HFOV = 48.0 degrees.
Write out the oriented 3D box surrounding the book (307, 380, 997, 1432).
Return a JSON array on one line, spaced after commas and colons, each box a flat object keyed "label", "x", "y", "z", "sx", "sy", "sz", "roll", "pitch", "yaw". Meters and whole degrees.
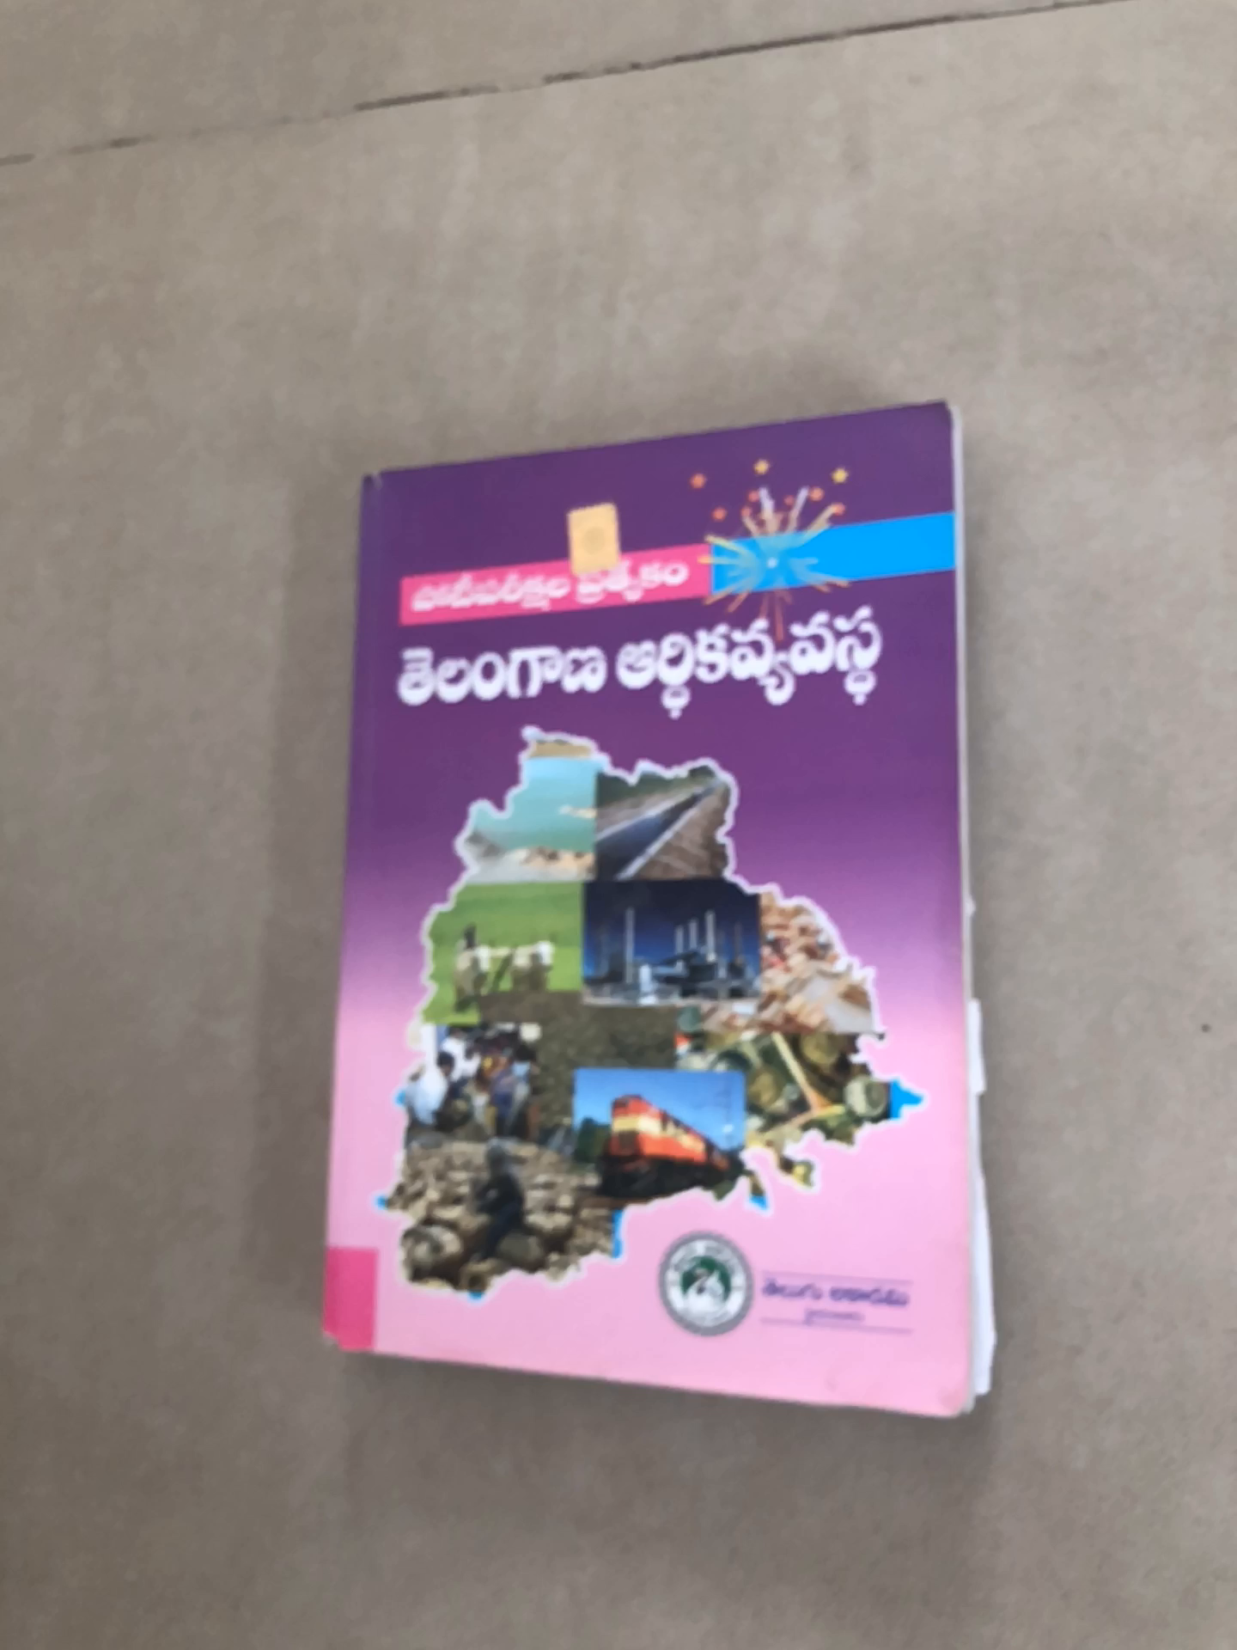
[{"label": "book", "x": 0.007, "y": 0.020, "z": 0.404, "sx": 0.191, "sy": 0.040, "sz": 0.268, "roll": -1, "pitch": 84, "yaw": 19}]
